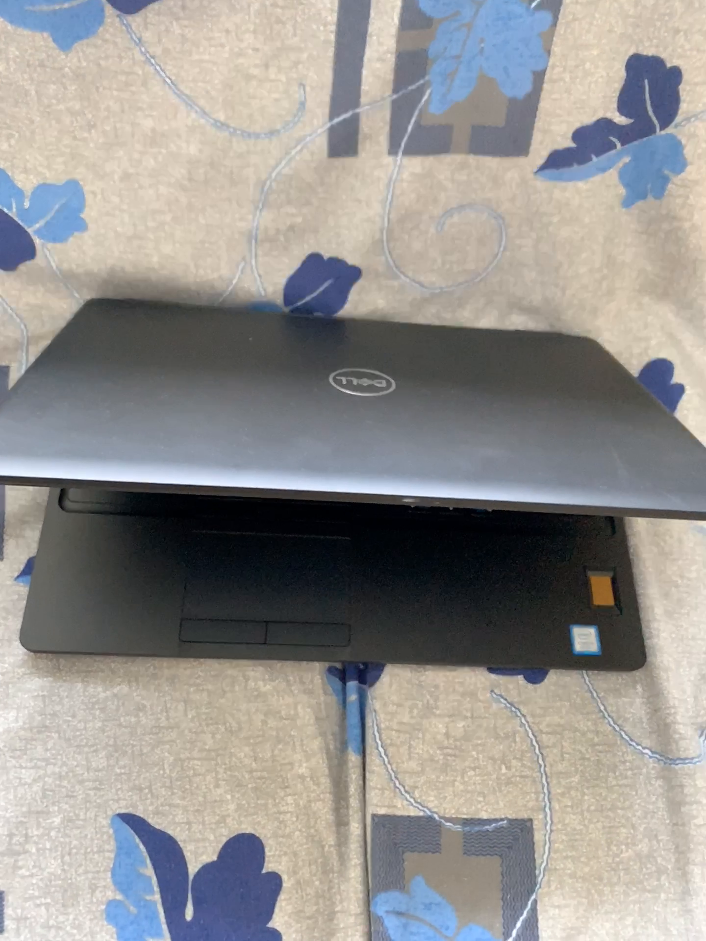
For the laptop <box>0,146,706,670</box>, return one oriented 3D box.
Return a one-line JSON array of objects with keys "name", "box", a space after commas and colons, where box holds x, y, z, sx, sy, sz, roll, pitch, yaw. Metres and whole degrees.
[{"name": "laptop", "box": [0.005, -0.024, 0.415, 0.371, 0.143, 0.238, 3, 65, -5]}]
